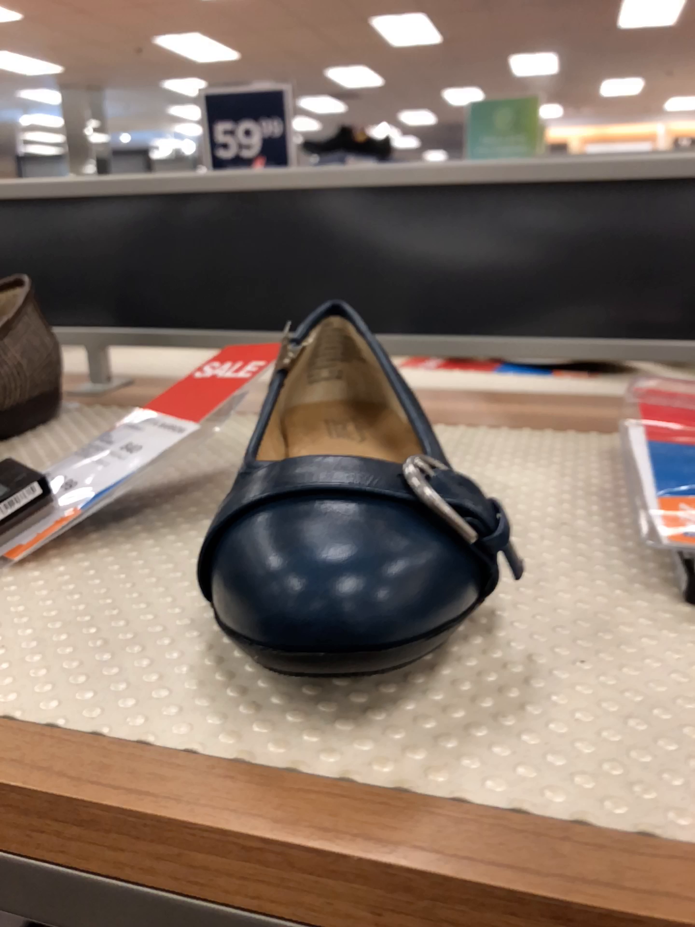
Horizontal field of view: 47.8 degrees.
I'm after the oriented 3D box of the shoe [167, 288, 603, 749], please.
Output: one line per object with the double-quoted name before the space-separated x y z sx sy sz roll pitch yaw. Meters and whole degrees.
"shoe" 0.001 -0.016 0.302 0.088 0.081 0.280 -2 17 -3
